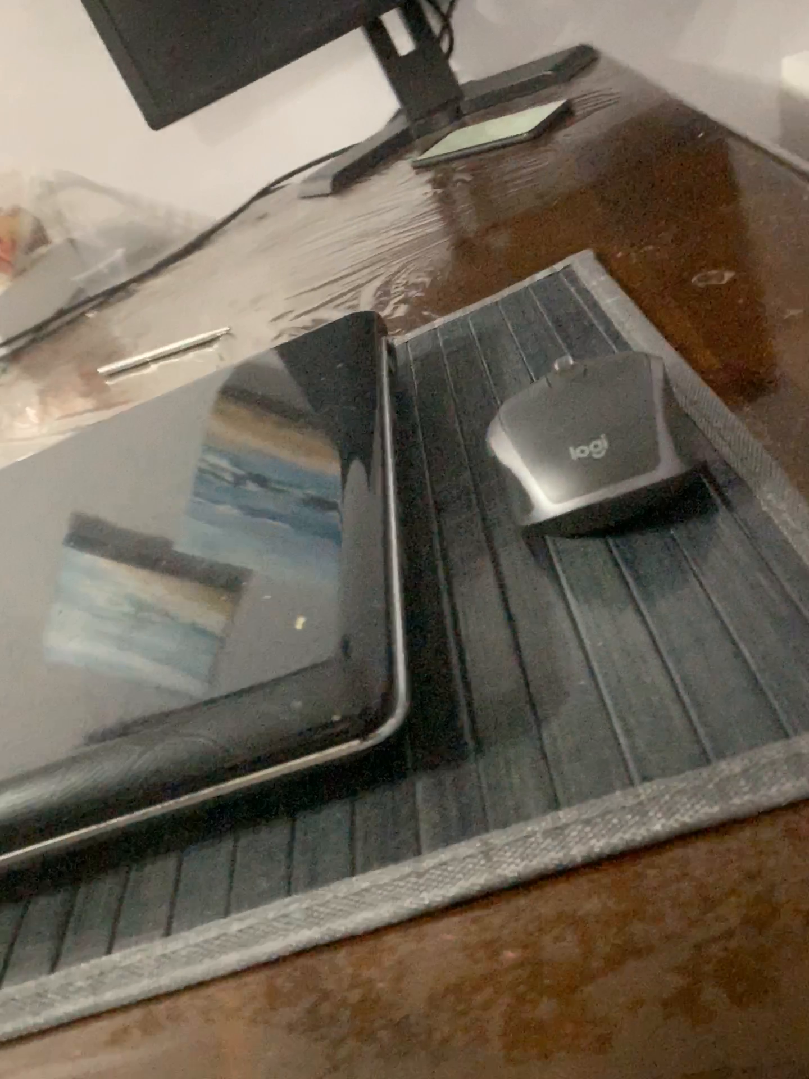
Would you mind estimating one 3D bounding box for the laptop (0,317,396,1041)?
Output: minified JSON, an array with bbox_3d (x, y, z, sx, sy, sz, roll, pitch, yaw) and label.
[{"bbox_3d":[-0.166,0.027,0.322,0.339,0.009,0.232,-19,35,10],"label":"laptop"}]
